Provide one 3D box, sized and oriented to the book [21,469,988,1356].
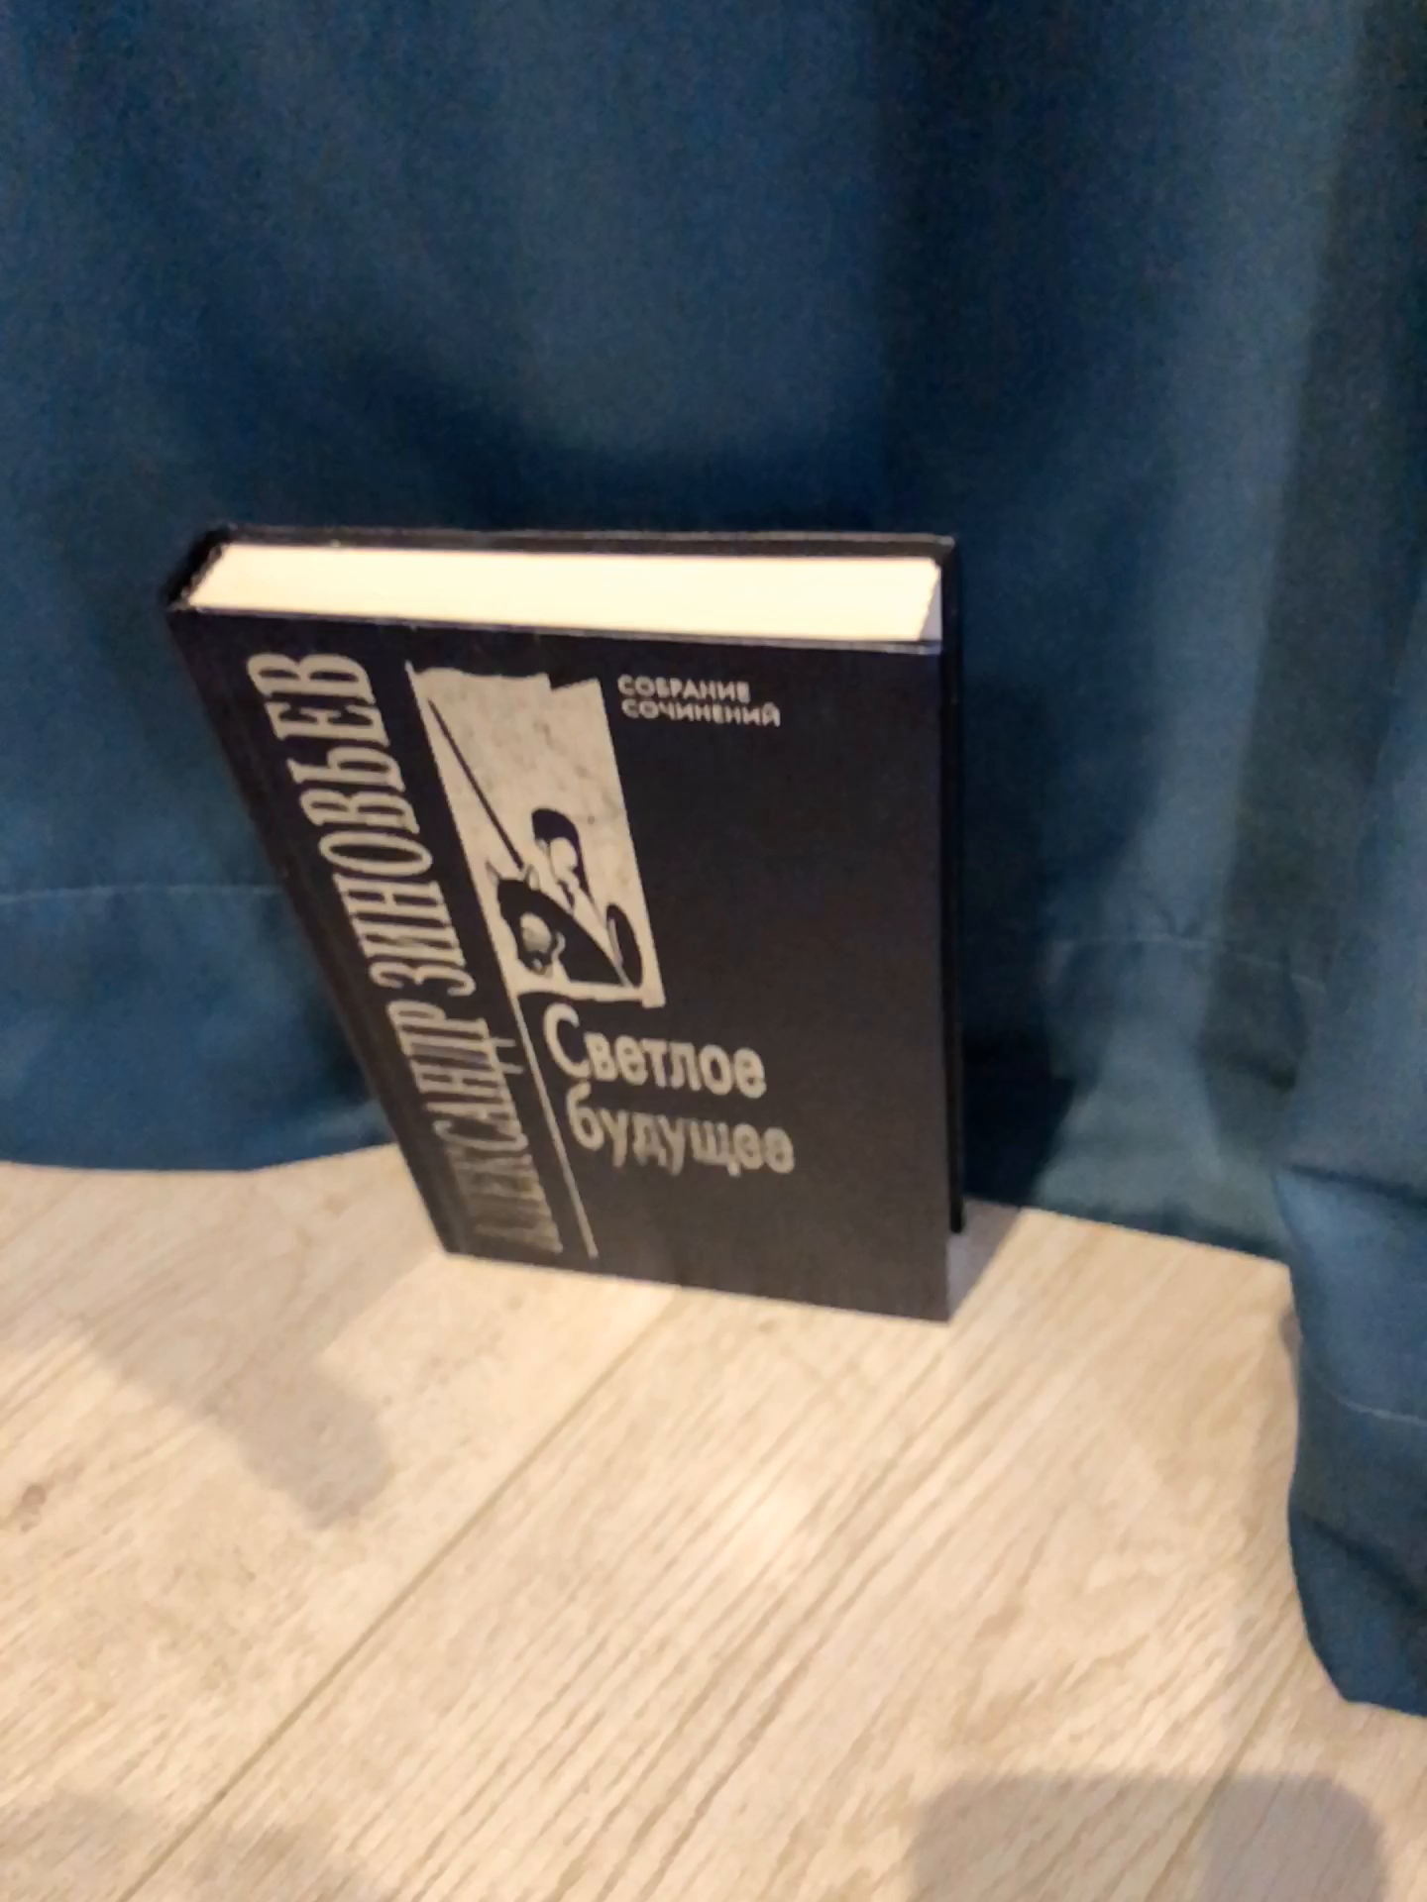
[{"bbox_3d":[-0.024,0.004,0.324,0.150,0.199,0.040,5,48,13],"label":"book"}]
